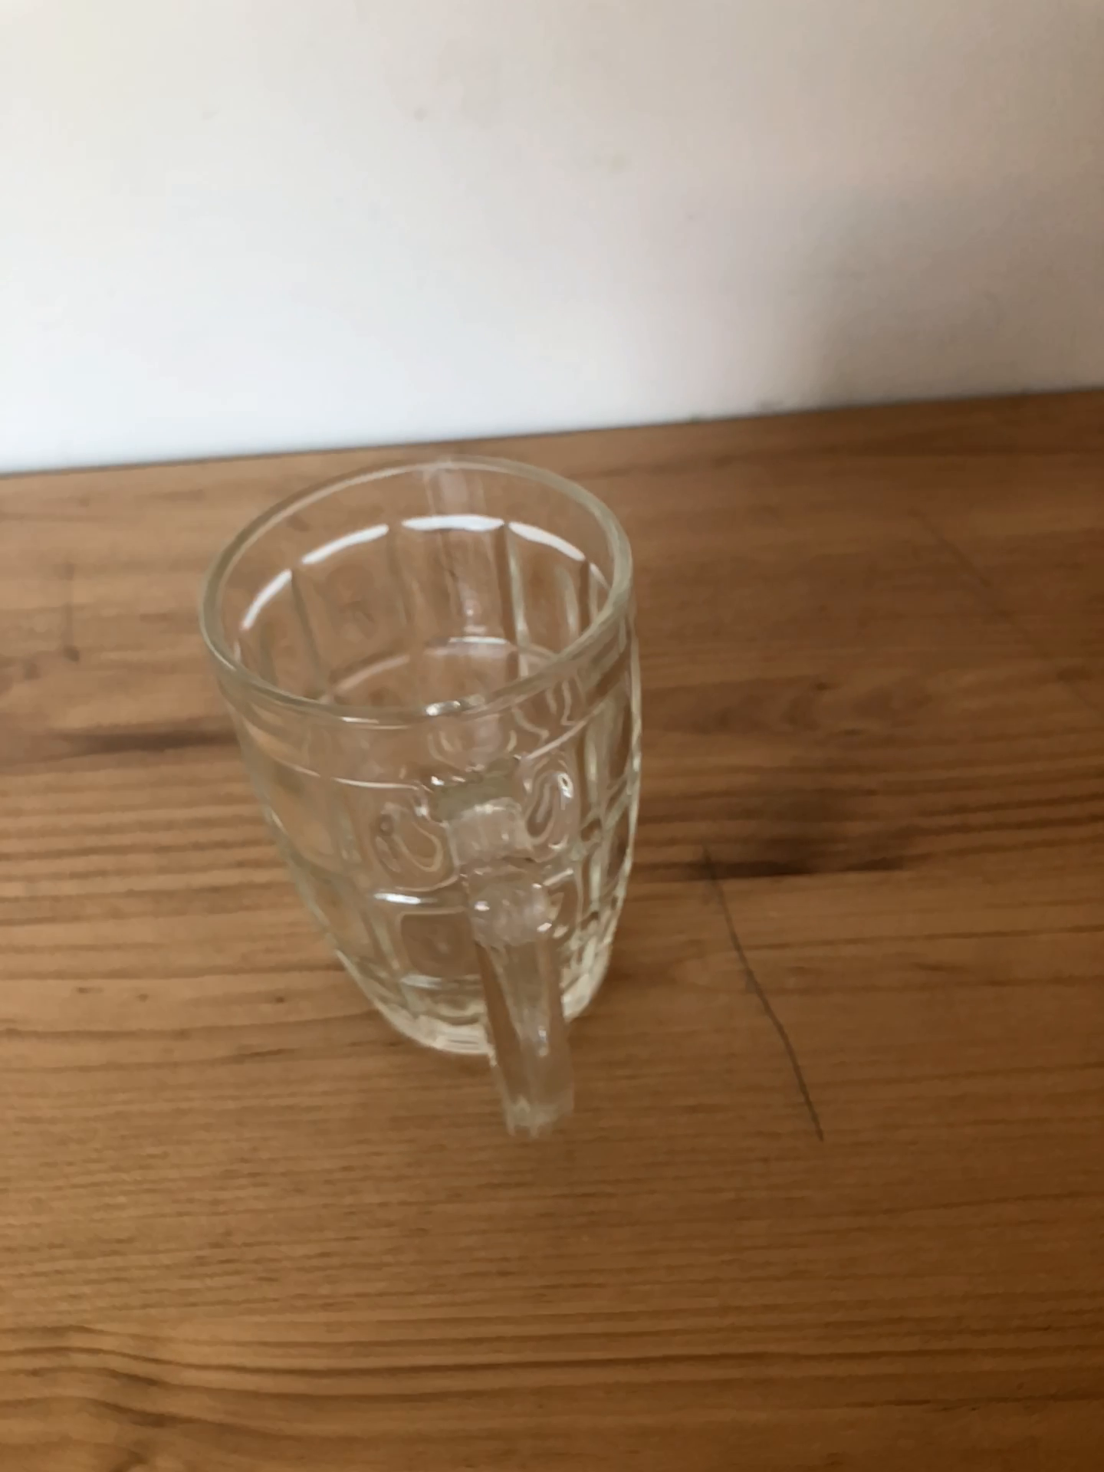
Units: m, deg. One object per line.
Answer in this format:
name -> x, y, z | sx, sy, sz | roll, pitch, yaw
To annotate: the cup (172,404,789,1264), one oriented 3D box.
cup -> -0.017, 0.015, 0.251 | 0.088, 0.102, 0.120 | -14, 43, -5
